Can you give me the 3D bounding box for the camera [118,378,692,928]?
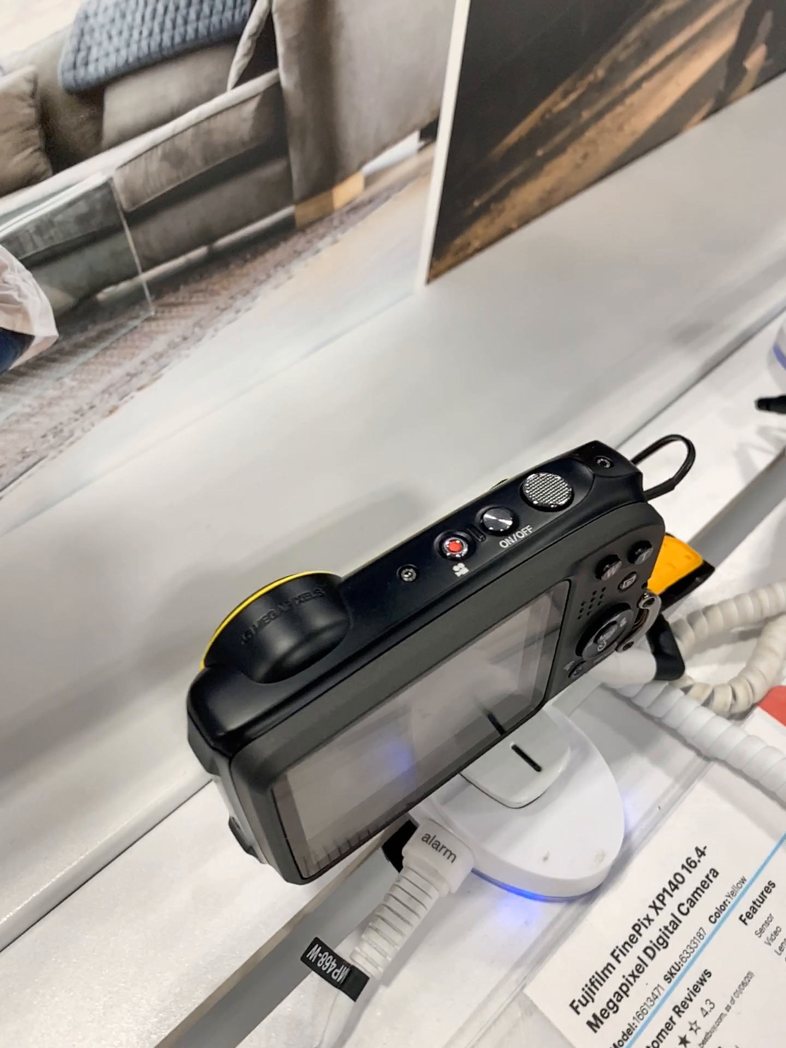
[{"bbox_3d":[0.007,0.023,0.179,0.110,0.060,0.040,-31,55,-27],"label":"camera"}]
